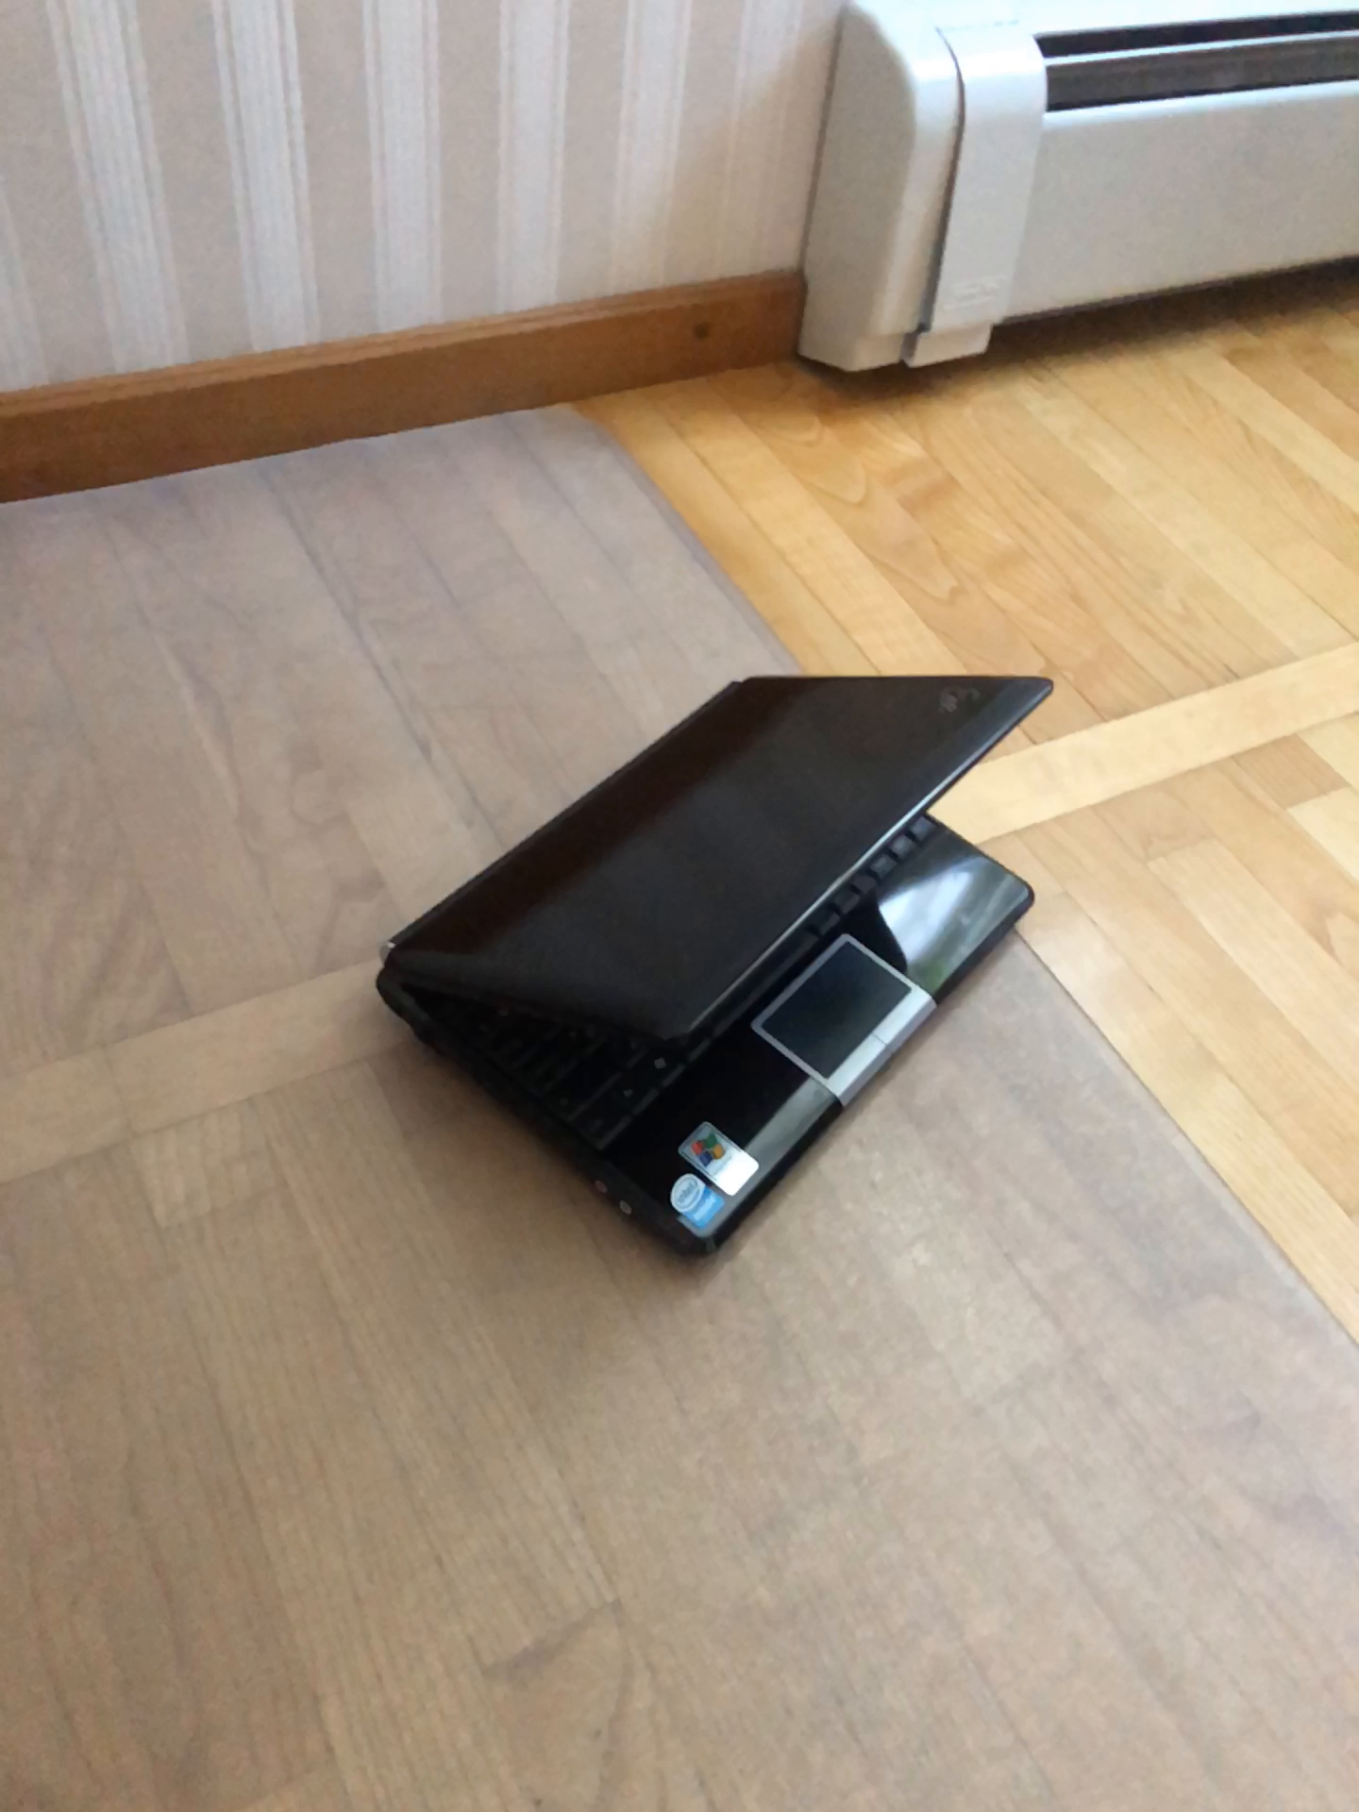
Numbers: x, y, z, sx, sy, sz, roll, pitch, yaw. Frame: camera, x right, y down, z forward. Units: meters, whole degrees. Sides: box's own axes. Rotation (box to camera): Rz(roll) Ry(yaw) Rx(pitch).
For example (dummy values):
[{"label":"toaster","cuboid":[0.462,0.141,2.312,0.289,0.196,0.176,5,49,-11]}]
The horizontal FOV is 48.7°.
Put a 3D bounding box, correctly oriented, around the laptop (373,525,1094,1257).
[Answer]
[{"label":"laptop","cuboid":[0.029,-0.022,0.651,0.182,0.102,0.265,36,53,17]}]
